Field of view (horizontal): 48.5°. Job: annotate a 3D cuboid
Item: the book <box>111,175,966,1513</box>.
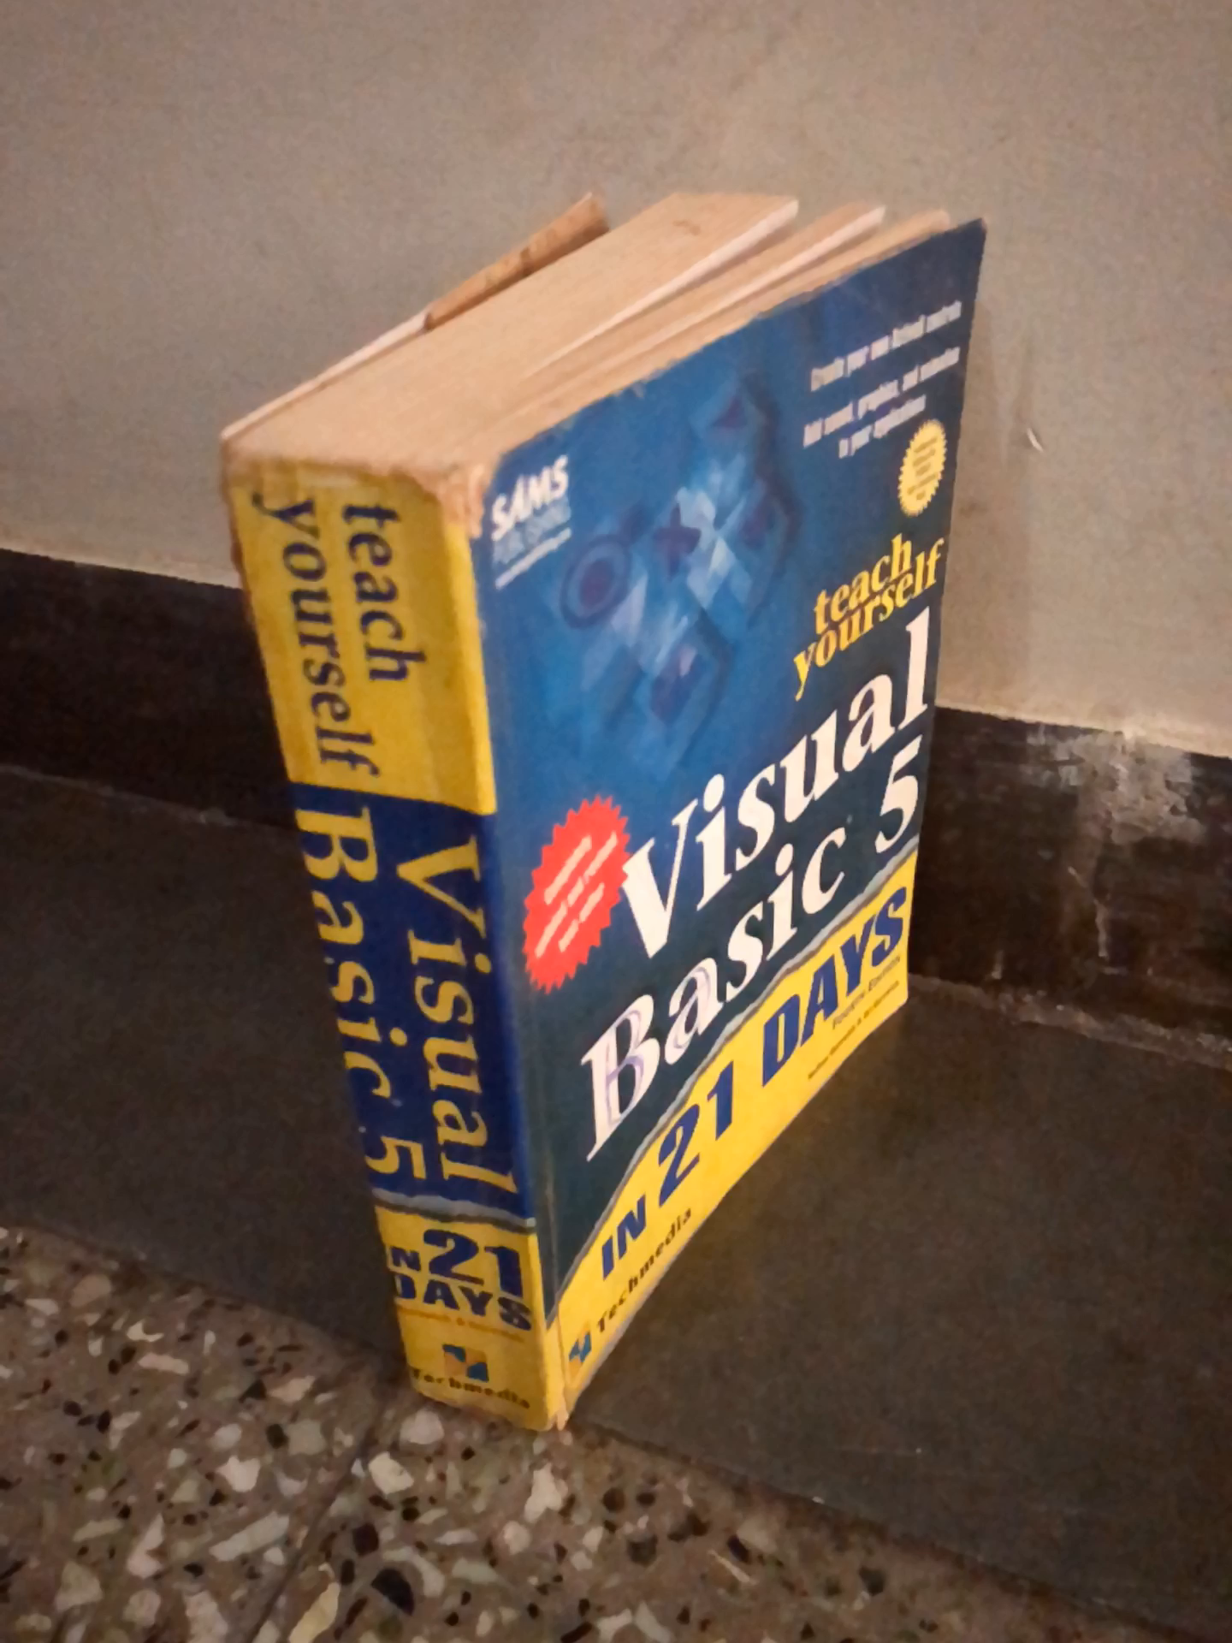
[{"bbox_3d":[0.019,-0.015,0.342,0.060,0.229,0.251,11,36,25],"label":"book"}]
